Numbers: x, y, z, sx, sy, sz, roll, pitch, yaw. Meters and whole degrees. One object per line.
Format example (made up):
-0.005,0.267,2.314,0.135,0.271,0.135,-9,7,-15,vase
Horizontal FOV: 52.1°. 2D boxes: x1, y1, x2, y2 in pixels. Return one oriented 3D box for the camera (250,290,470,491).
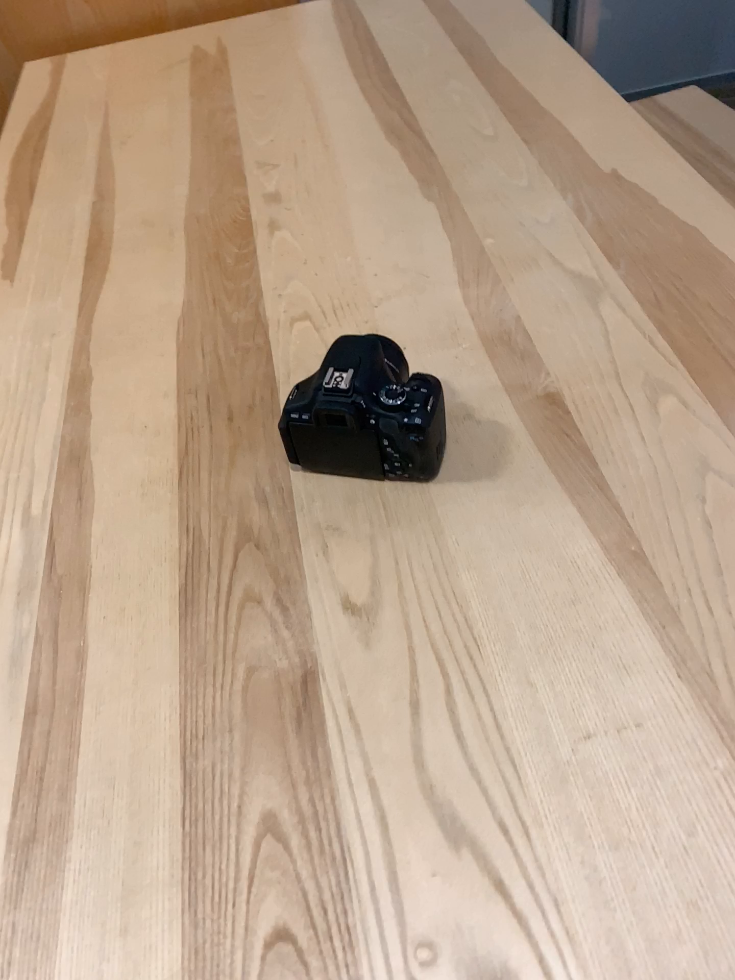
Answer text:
0.002,-0.084,0.620,0.145,0.100,0.120,6,51,15,camera
